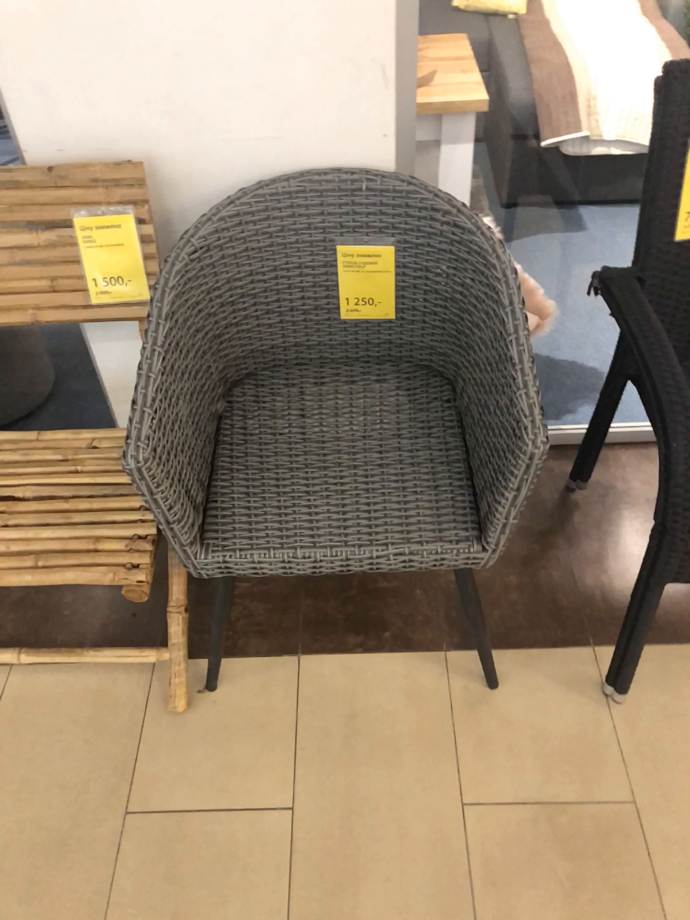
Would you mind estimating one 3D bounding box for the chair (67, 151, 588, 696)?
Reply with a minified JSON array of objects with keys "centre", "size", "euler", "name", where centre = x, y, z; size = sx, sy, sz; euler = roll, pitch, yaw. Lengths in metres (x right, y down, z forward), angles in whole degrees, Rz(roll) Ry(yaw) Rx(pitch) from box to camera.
[{"centre":[-0.007,-0.032,1.270],"size":[0.570,0.737,0.522],"euler":[-2,45,1],"name":"chair"}]
